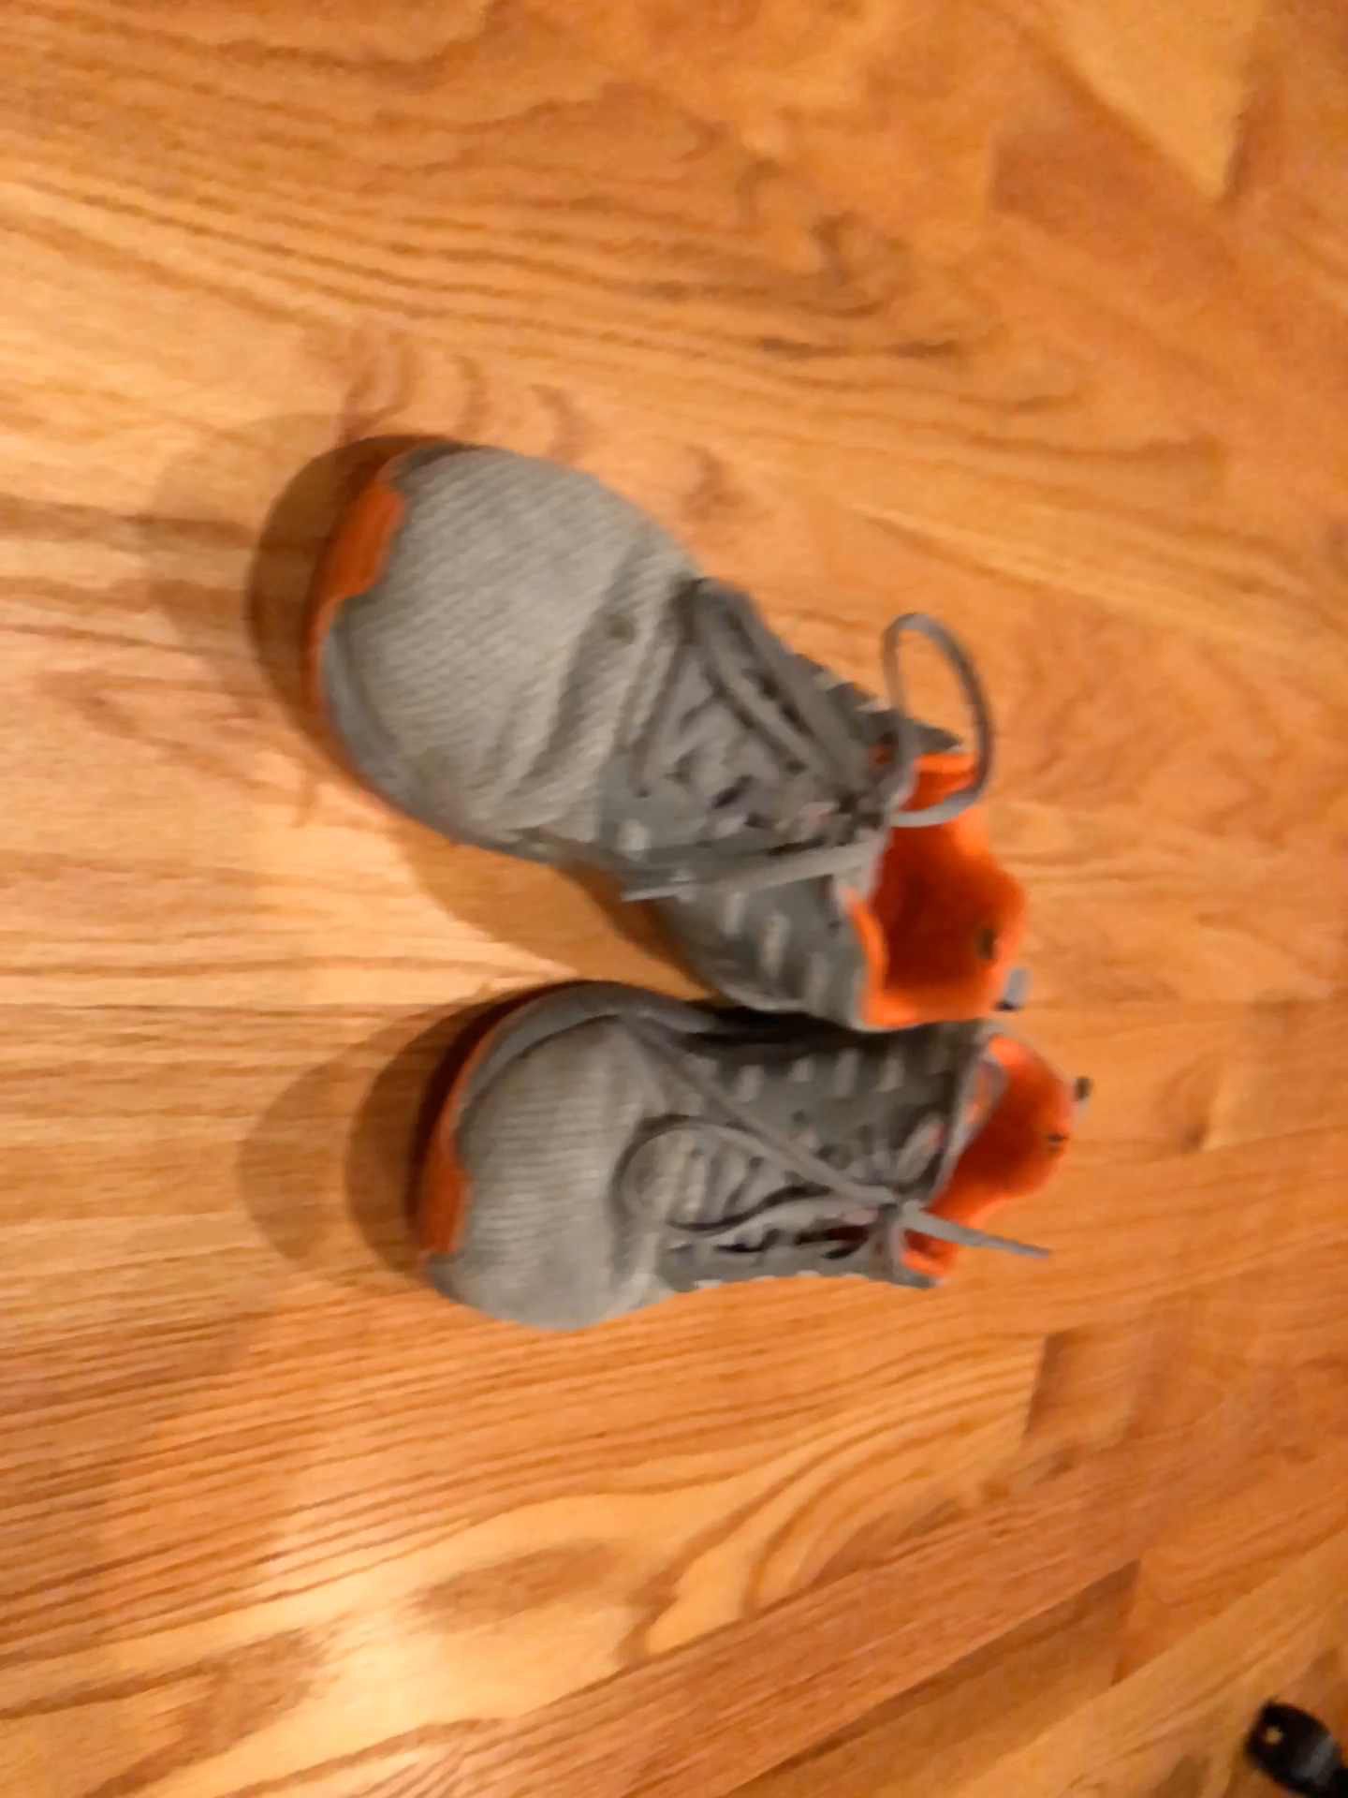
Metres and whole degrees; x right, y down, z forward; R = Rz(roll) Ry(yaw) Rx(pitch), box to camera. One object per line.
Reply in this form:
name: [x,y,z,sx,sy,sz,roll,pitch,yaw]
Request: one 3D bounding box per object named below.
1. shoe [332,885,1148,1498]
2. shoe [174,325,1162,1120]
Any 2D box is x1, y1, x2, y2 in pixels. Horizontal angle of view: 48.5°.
shoe: [0.033,0.065,0.443,0.251,0.080,0.110,-5,106,-44]
shoe: [0.019,-0.031,0.396,0.251,0.100,0.100,27,83,-46]
